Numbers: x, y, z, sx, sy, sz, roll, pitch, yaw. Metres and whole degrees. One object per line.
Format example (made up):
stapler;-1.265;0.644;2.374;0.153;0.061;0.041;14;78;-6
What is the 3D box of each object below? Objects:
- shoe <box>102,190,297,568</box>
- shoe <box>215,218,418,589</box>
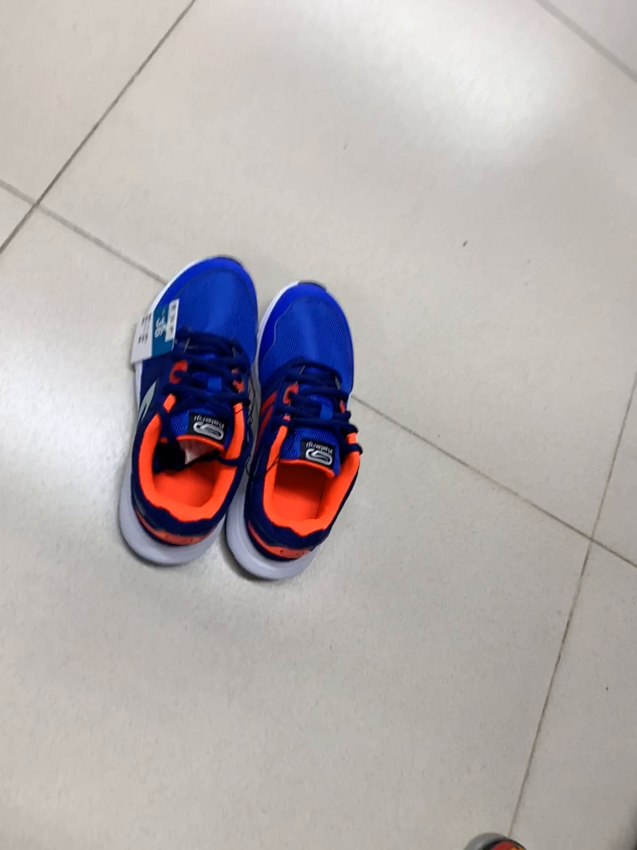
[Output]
shoe;-0.091;-0.025;0.497;0.090;0.120;0.250;11;74;-18
shoe;-0.002;-0.008;0.506;0.090;0.120;0.250;13;73;-18
